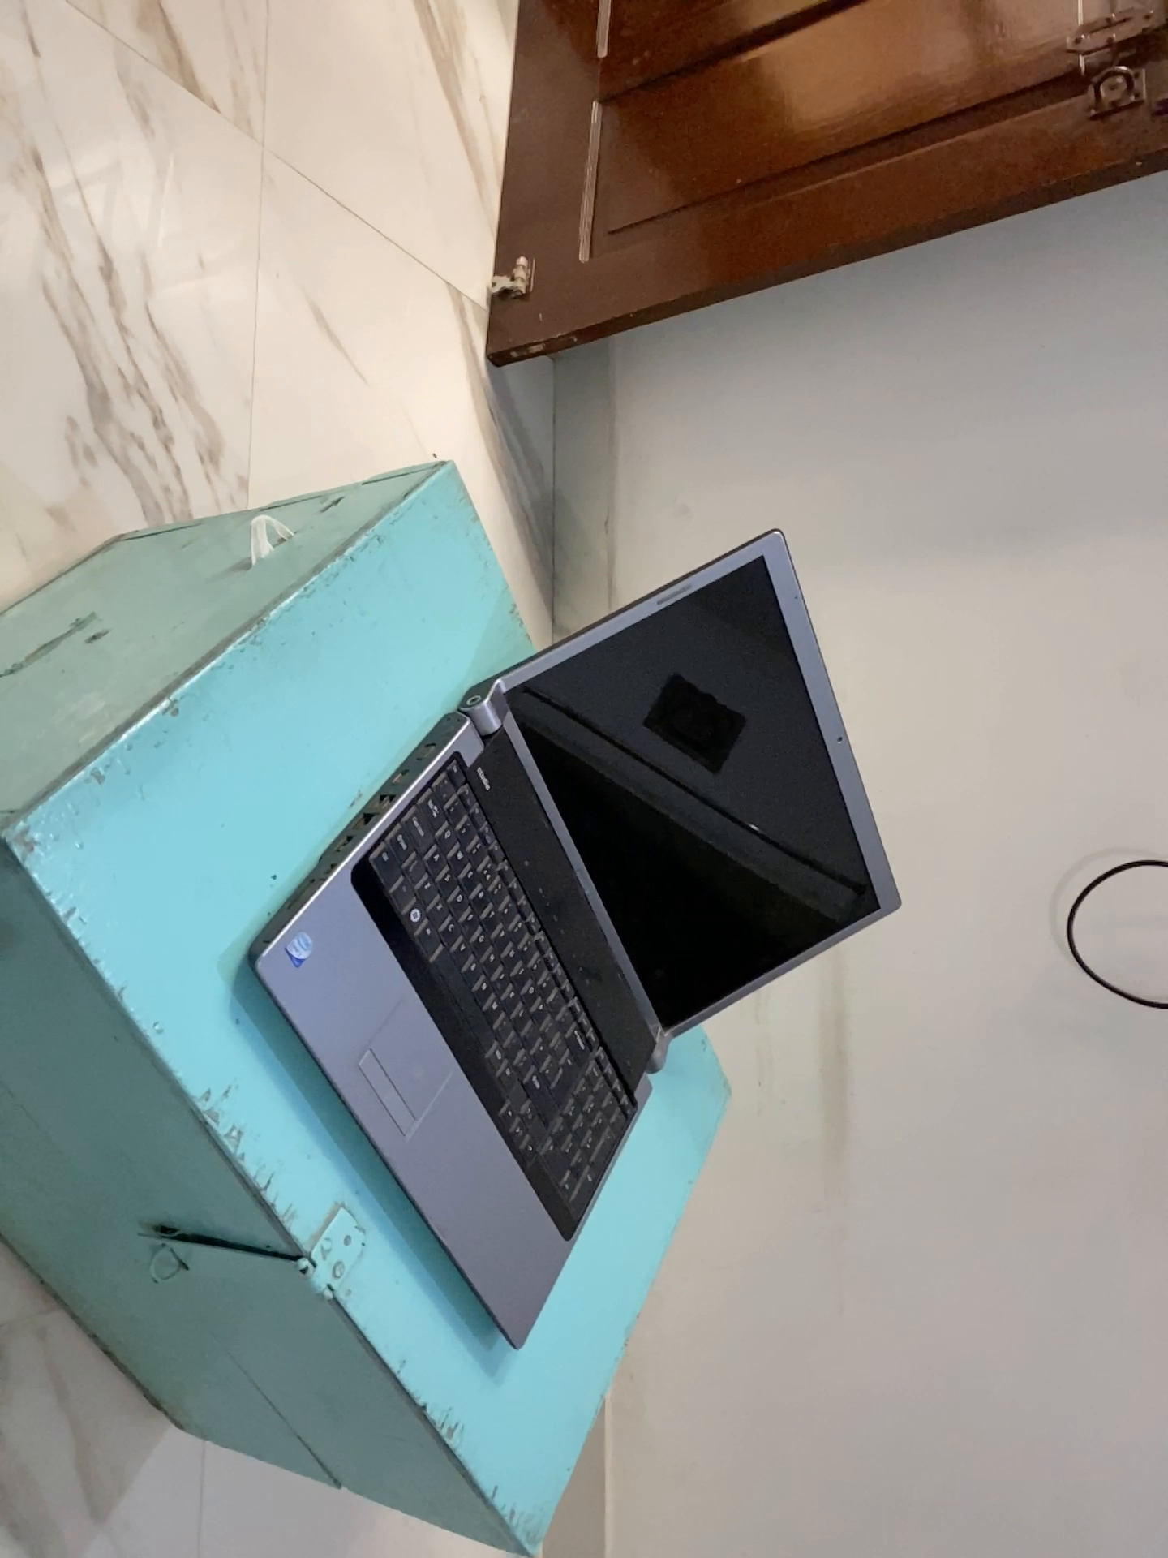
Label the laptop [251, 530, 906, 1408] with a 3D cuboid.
[{"bbox_3d":[0.054,0.116,0.892,0.479,0.178,0.390,-56,132,-43],"label":"laptop"}]
